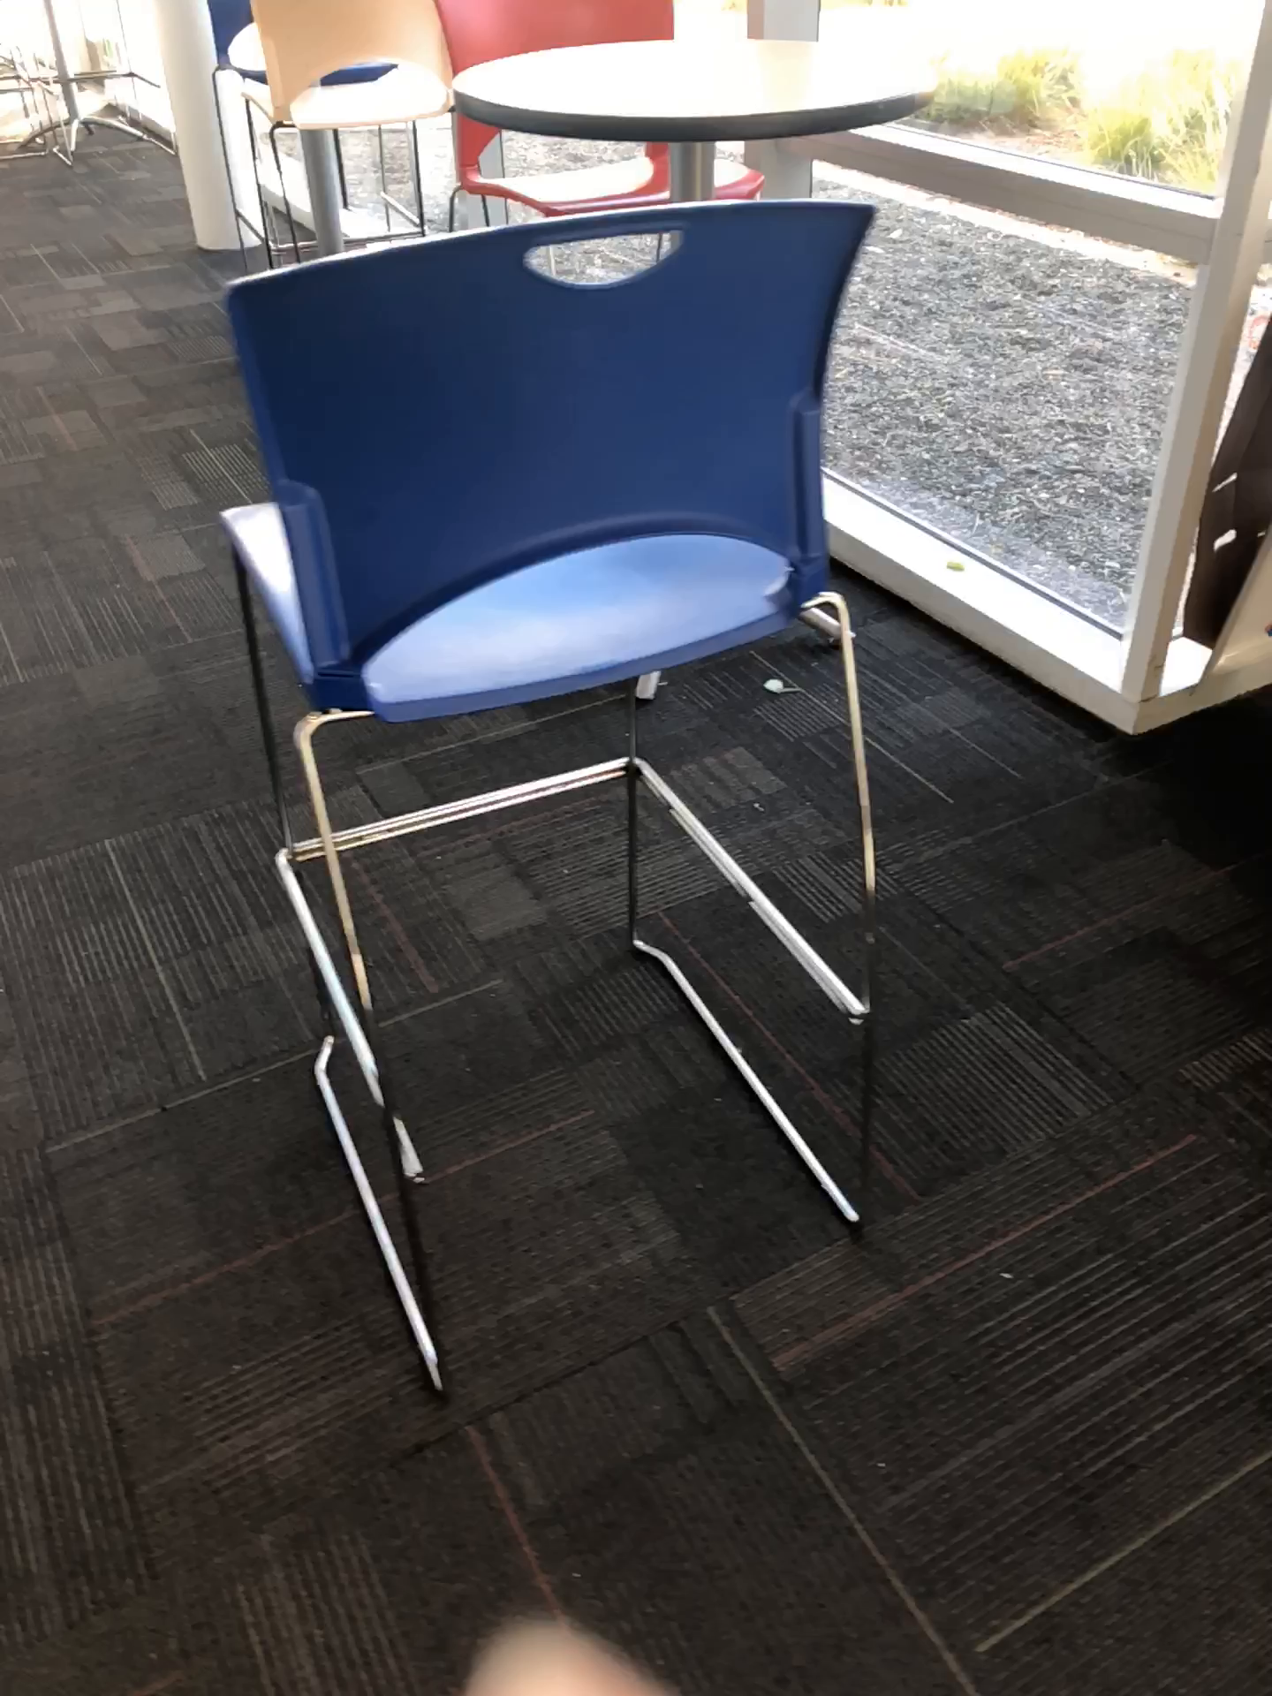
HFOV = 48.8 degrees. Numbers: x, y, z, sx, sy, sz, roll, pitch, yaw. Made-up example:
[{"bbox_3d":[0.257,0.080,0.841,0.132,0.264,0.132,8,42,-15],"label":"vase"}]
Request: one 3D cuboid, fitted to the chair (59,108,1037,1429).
[{"bbox_3d":[-0.102,-0.095,1.318,0.550,0.965,0.613,-15,37,-18],"label":"chair"}]
